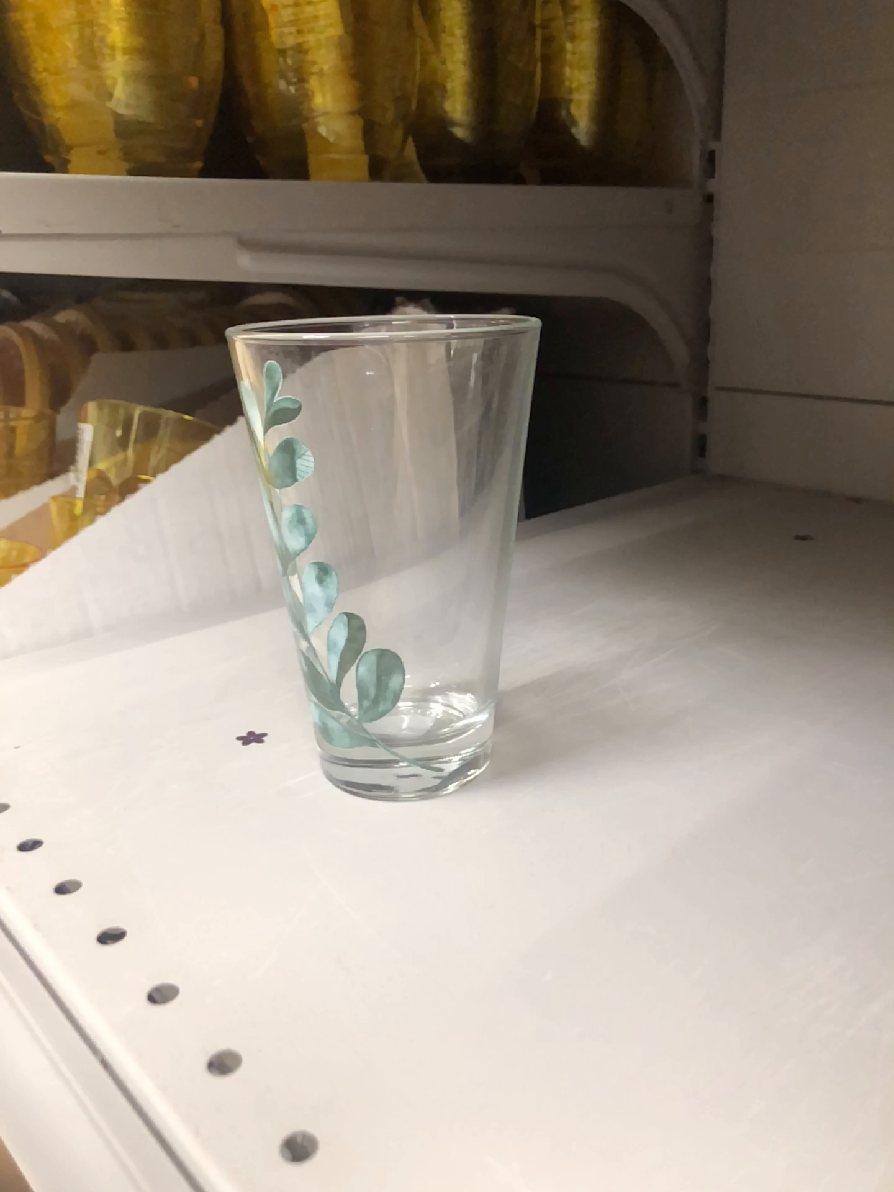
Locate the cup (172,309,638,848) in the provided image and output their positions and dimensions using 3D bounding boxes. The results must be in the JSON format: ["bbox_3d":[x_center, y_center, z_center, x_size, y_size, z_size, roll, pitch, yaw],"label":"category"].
[{"bbox_3d":[-0.011,-0.015,0.264,0.084,0.114,0.083,-1,17,0],"label":"cup"}]
